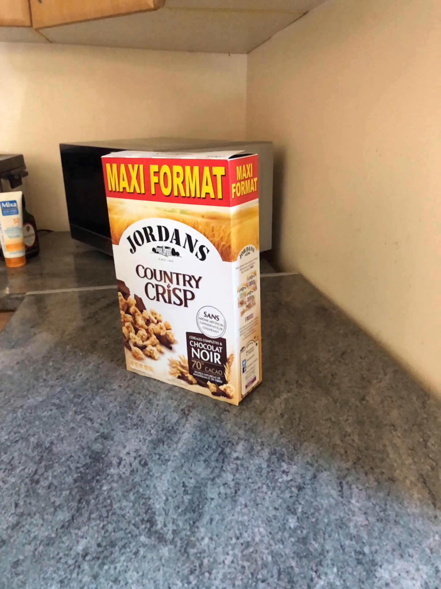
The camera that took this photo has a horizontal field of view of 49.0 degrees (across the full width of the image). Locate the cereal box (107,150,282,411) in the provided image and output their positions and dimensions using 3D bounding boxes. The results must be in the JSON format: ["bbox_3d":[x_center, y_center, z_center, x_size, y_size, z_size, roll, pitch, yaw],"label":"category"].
[{"bbox_3d":[-0.029,-0.026,0.618,0.200,0.299,0.070,10,23,32],"label":"cereal box"}]
